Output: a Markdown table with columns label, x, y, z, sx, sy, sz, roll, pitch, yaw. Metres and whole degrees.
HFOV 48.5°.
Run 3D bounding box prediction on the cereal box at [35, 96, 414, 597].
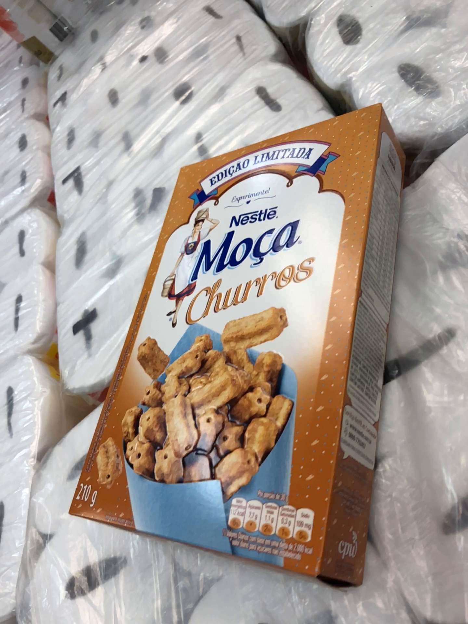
| label | x | y | z | sx | sy | sz | roll | pitch | yaw |
| --- | --- | --- | --- | --- | --- | --- | --- | --- | --- |
| cereal box | 0.001 | 0.007 | 0.298 | 0.171 | 0.050 | 0.240 | -6 | 59 | 36 |
